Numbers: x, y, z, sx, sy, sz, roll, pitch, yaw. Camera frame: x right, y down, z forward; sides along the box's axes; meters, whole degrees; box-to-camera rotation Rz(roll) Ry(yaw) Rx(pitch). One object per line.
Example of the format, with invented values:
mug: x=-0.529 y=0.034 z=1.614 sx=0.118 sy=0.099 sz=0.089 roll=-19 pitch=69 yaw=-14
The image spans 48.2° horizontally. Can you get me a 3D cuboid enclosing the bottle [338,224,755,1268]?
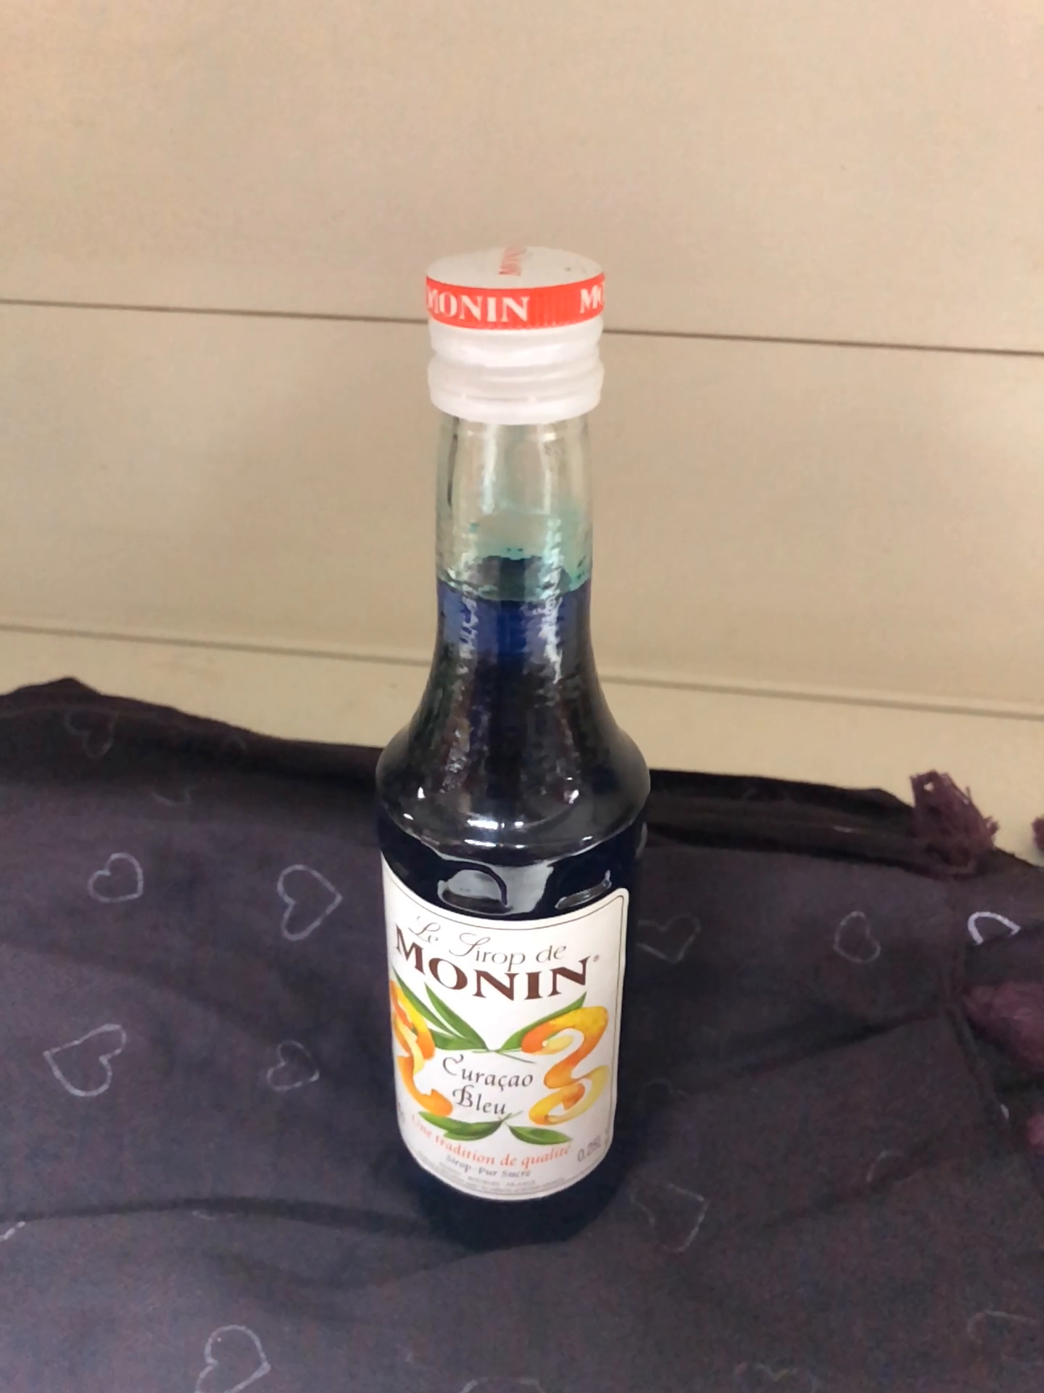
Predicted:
bottle: x=0.005 y=0.020 z=0.237 sx=0.060 sy=0.209 sz=0.050 roll=6 pitch=28 yaw=9
